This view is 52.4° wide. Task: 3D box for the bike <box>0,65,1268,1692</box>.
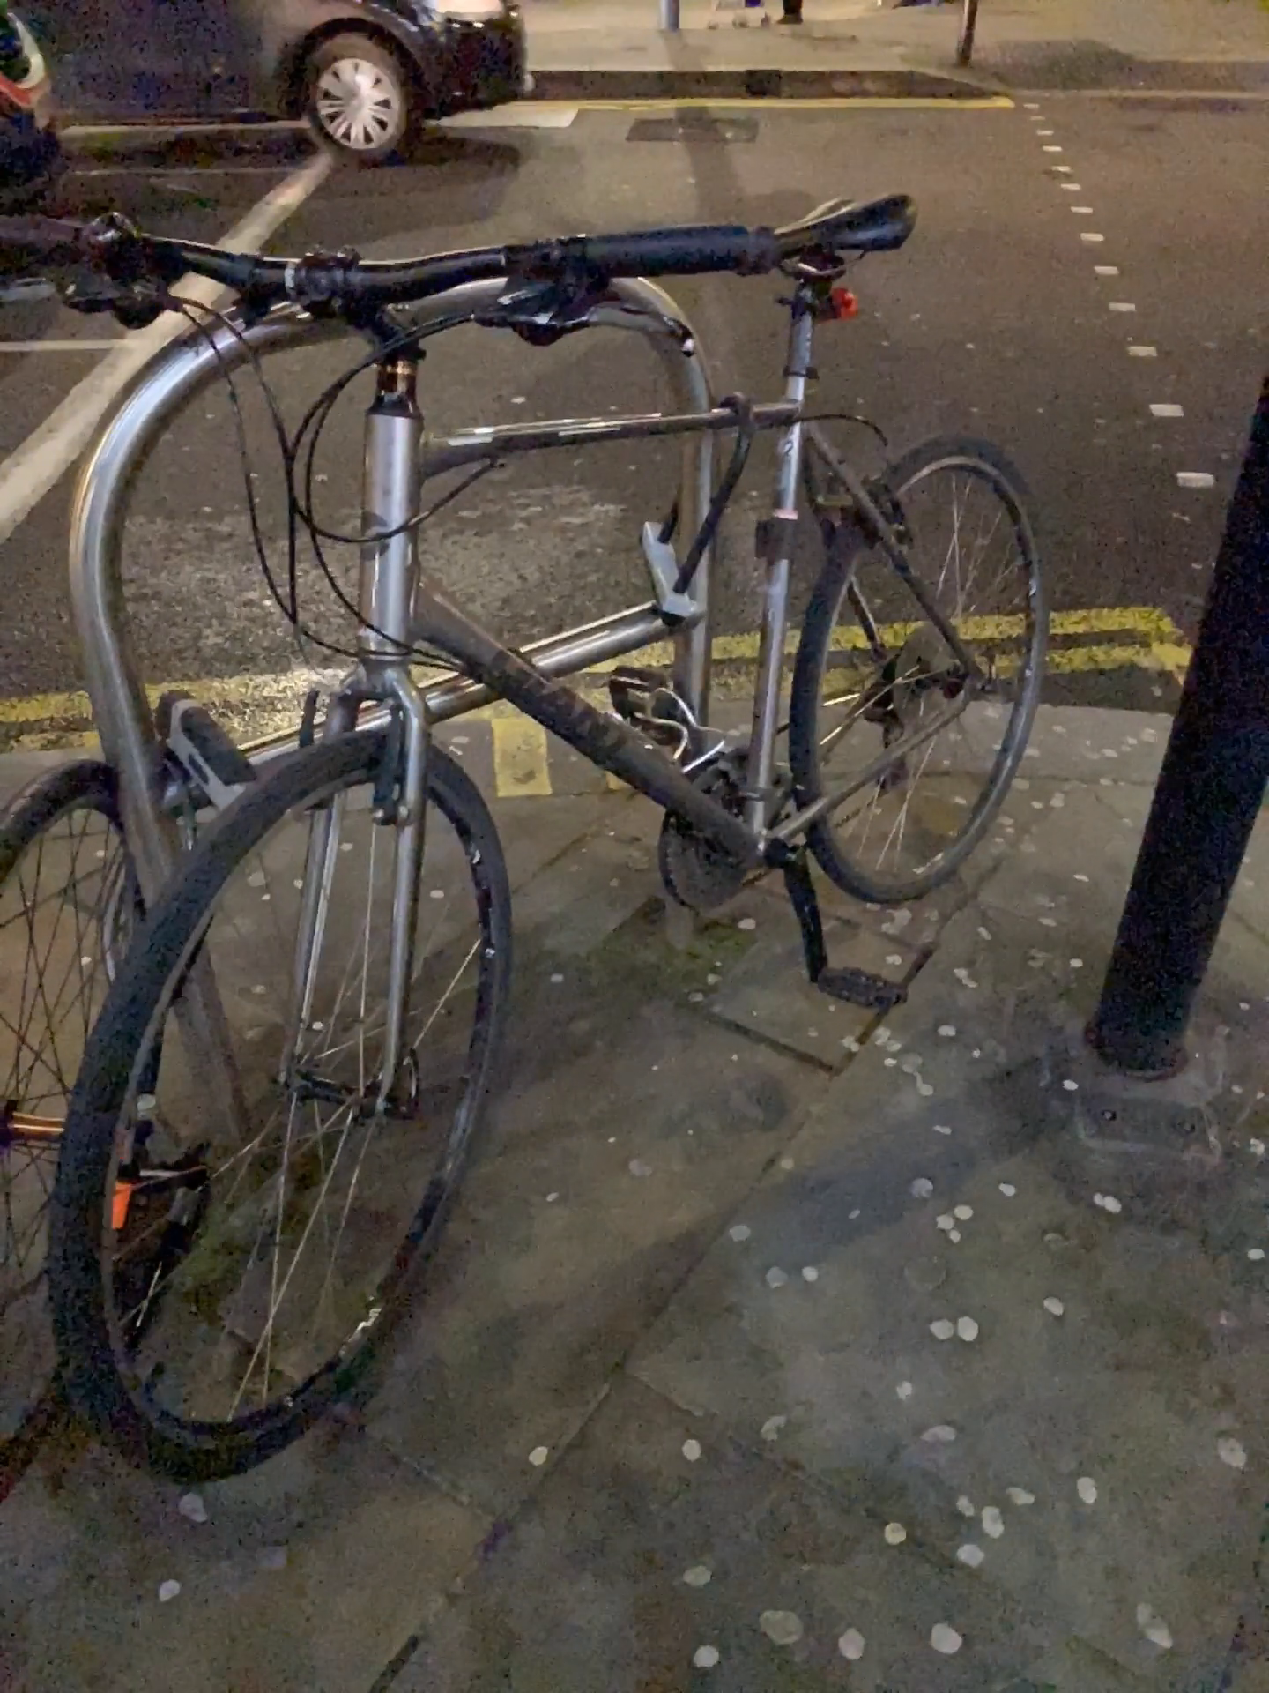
[{"bbox_3d":[-0.007,-0.218,1.552,0.709,1.123,1.827,24,41,30],"label":"bike"}]
